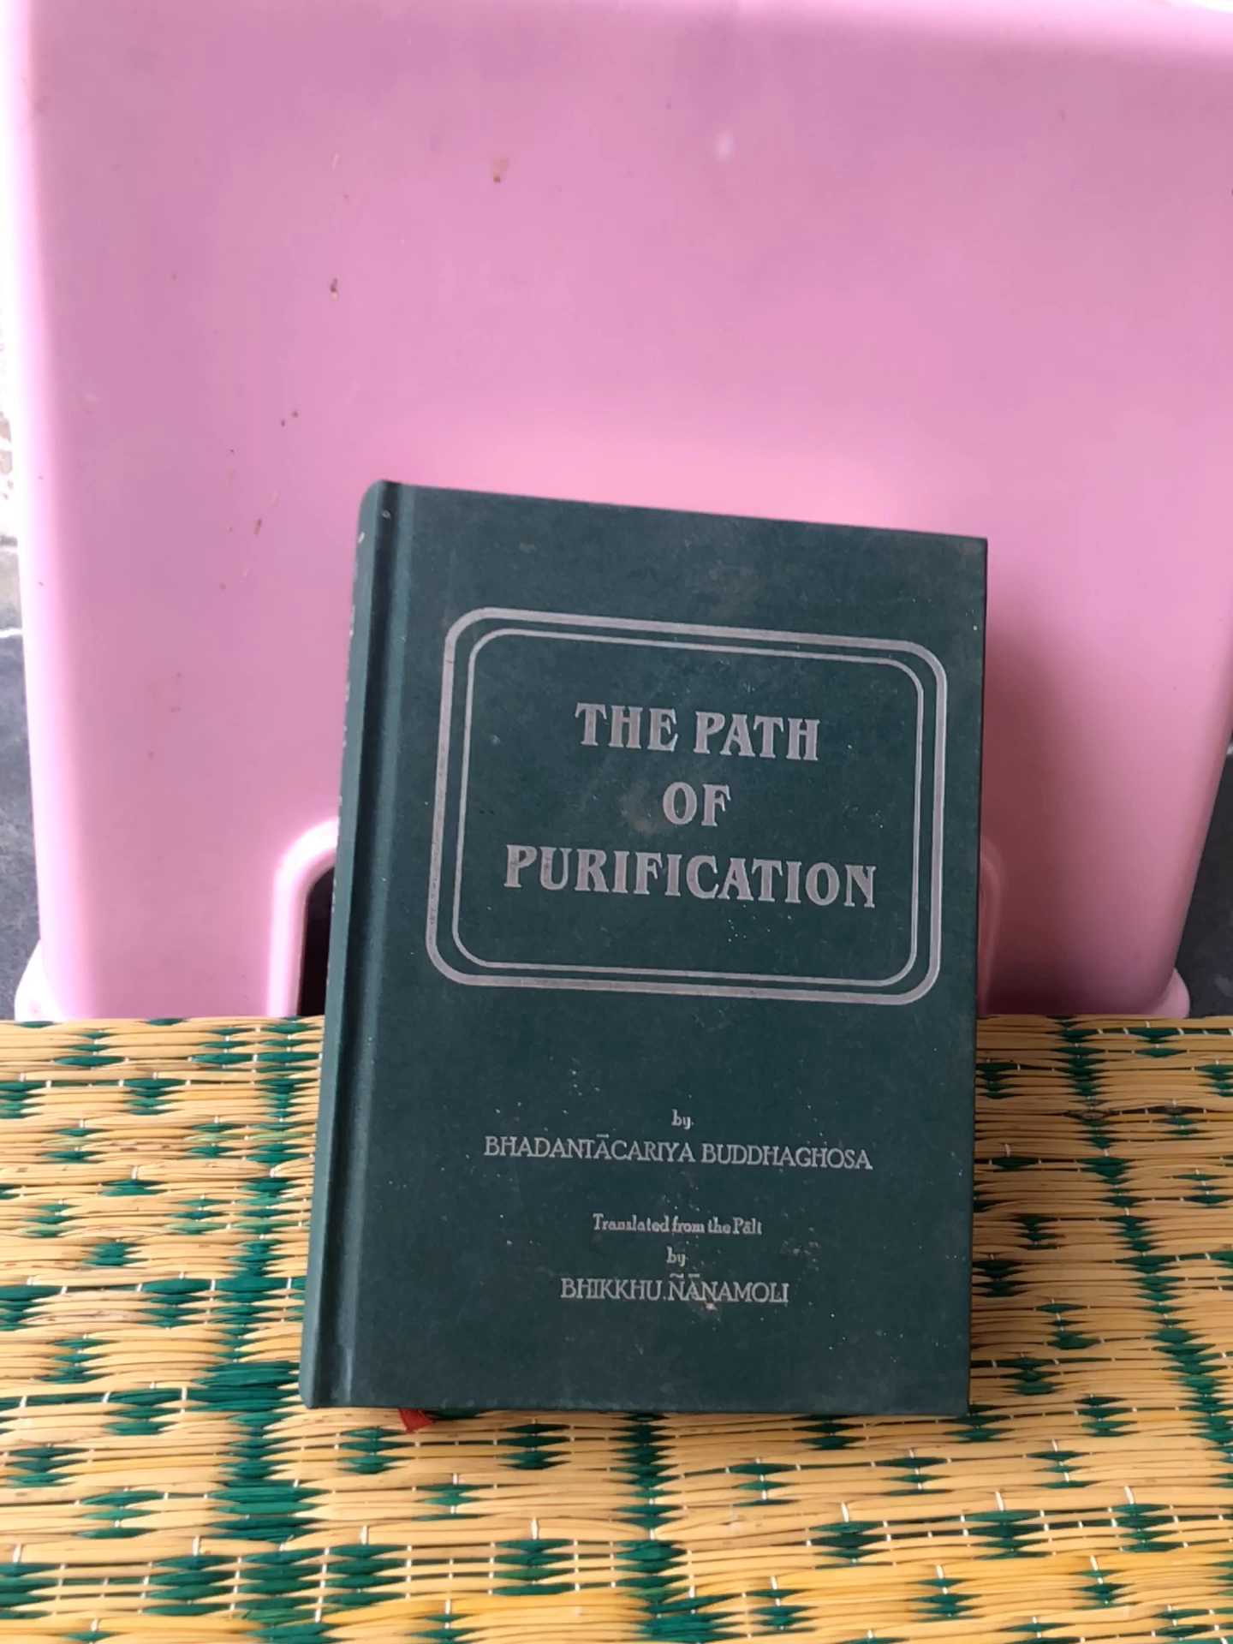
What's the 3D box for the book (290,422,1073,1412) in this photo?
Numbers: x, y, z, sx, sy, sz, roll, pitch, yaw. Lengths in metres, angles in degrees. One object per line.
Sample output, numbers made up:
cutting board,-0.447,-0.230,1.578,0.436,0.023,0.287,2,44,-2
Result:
book,0.016,0.023,0.339,0.160,0.080,0.210,3,78,-4
